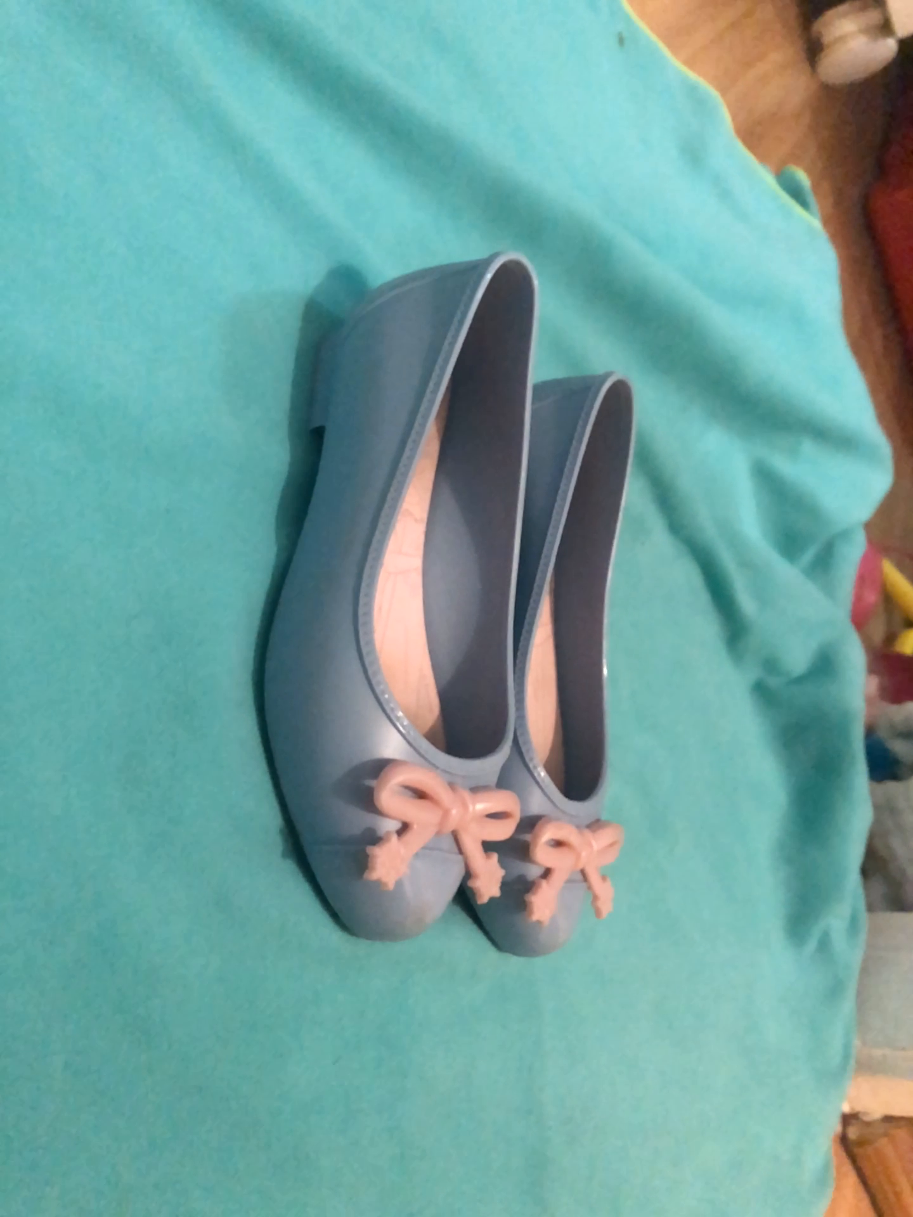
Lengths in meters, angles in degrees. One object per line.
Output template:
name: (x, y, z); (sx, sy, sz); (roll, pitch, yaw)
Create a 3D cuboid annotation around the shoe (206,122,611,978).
shoe: (-0.012, -0.010, 0.265); (0.081, 0.060, 0.190); (16, 67, -53)

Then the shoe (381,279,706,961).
shoe: (0.027, 0.007, 0.324); (0.081, 0.060, 0.190); (16, 67, -53)
